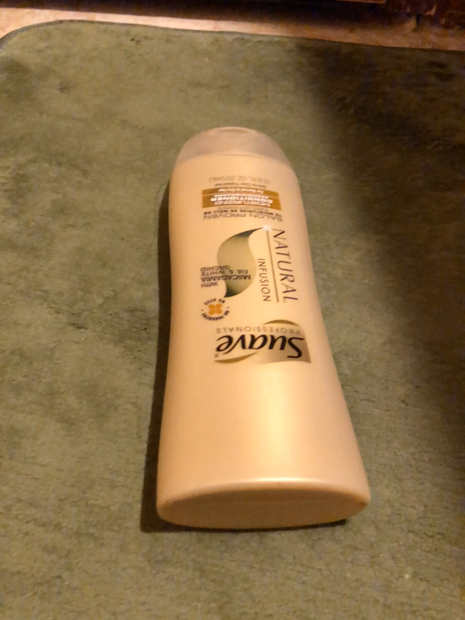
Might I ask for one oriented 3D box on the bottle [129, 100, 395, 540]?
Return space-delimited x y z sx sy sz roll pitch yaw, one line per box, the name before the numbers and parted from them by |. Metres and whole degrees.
bottle | 0.002 -0.016 0.244 0.080 0.050 0.220 1 50 -5
